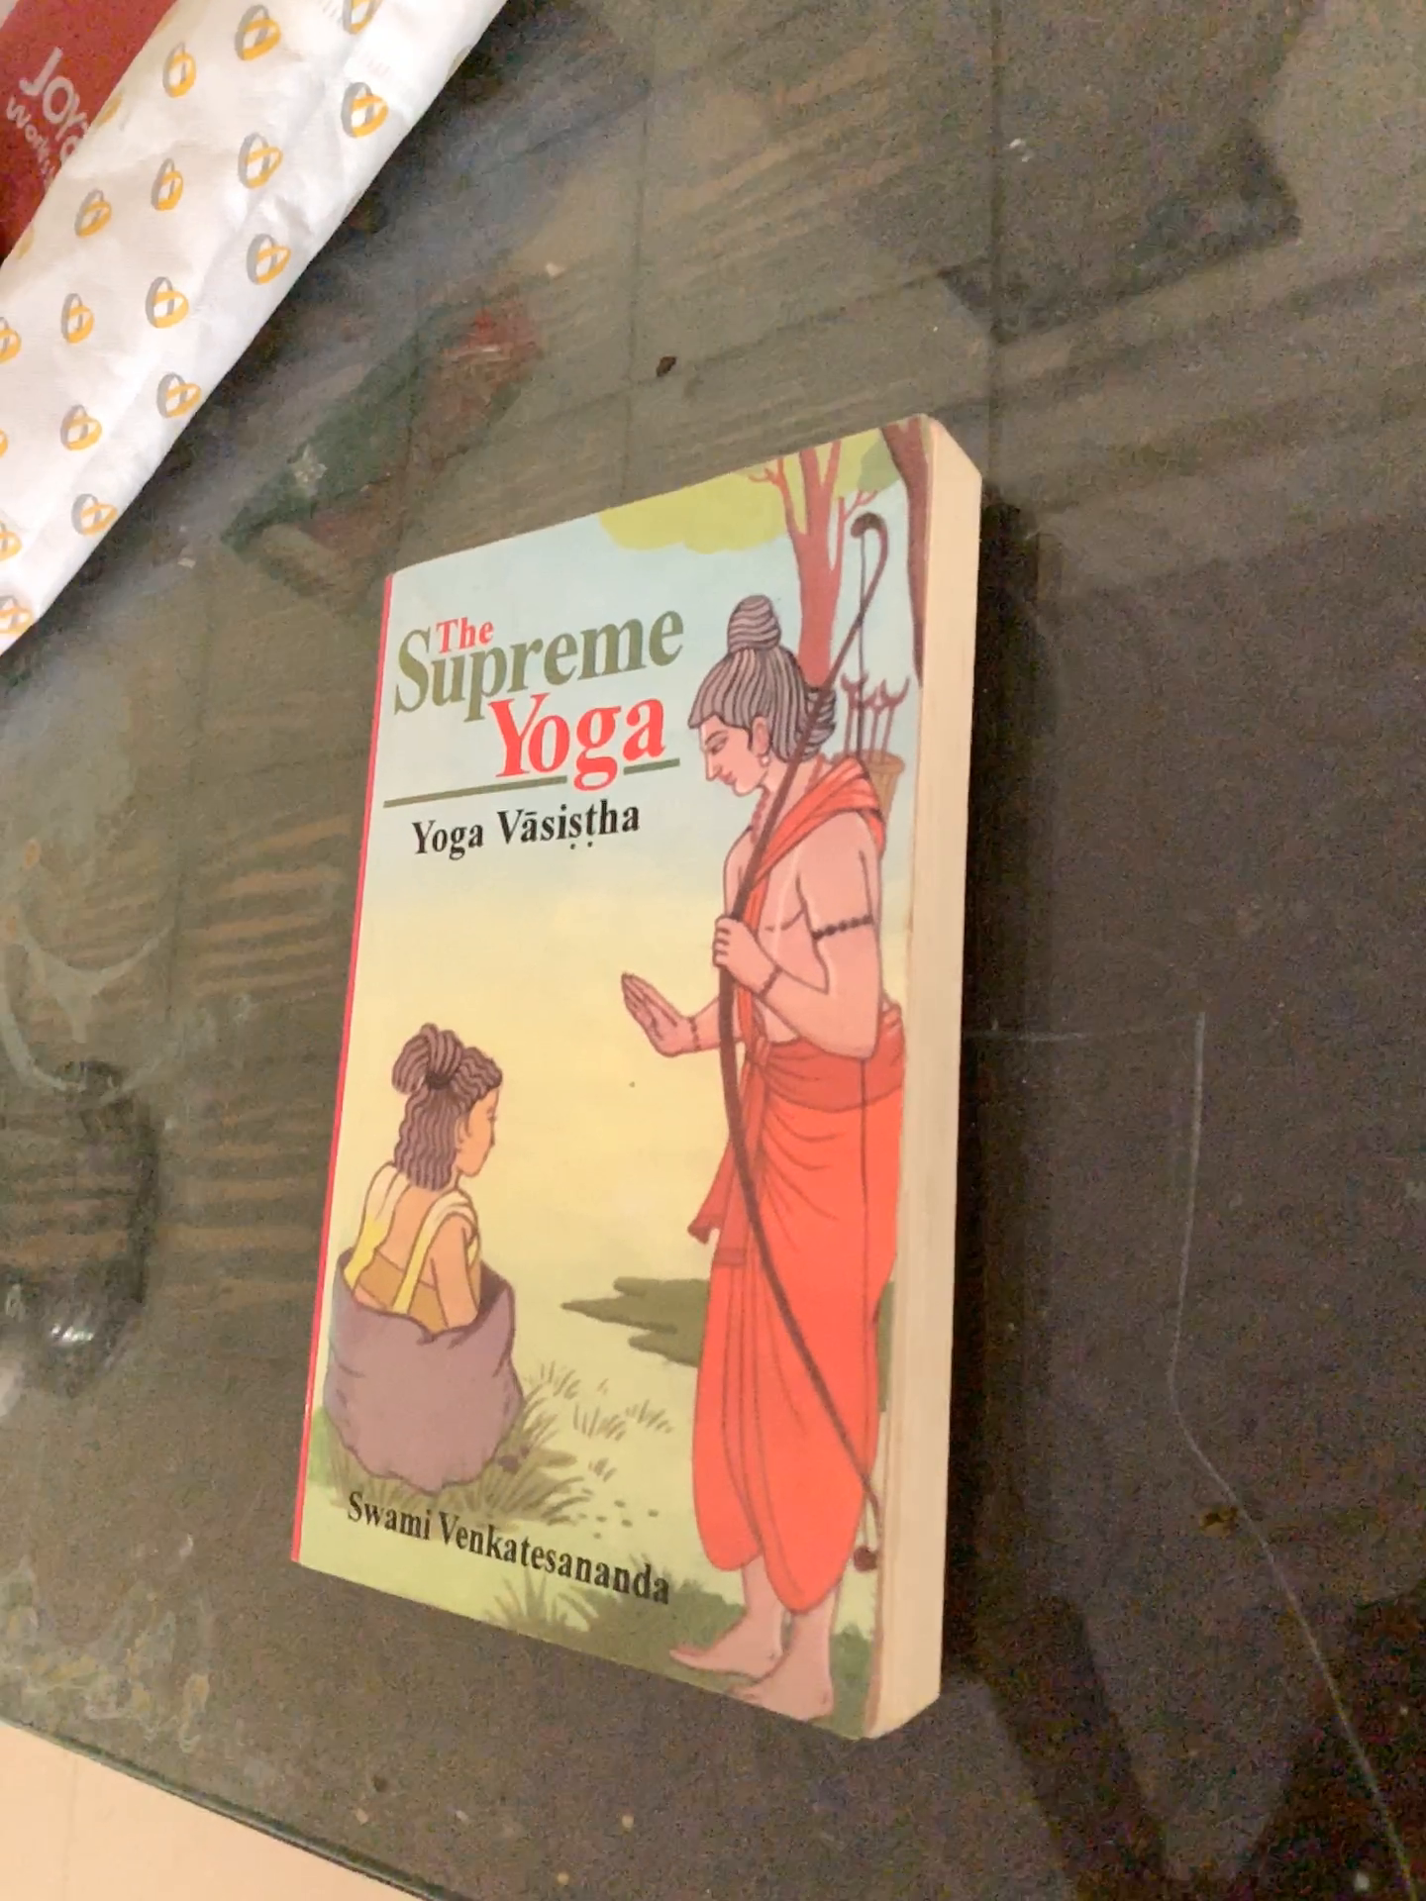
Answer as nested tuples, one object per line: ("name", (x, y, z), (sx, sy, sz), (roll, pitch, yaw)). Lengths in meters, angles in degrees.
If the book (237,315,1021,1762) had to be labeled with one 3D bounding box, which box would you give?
("book", (-0.018, 0.010, 0.266), (0.141, 0.030, 0.210), (-5, 77, 36))
